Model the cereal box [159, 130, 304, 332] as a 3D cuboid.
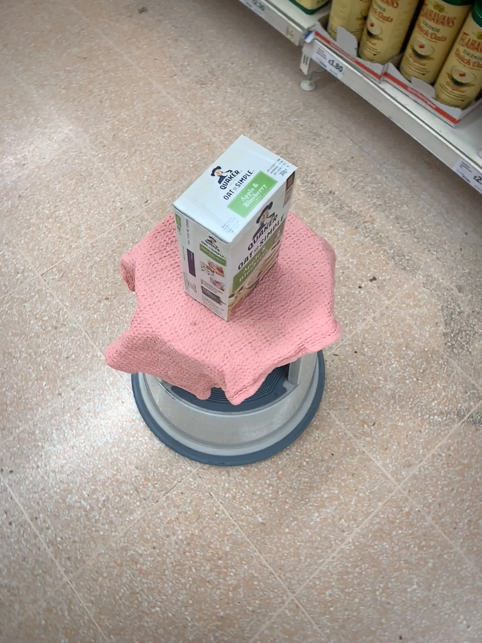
[{"bbox_3d":[-0.013,-0.103,0.628,0.090,0.209,0.140,36,69,12],"label":"cereal box"}]
